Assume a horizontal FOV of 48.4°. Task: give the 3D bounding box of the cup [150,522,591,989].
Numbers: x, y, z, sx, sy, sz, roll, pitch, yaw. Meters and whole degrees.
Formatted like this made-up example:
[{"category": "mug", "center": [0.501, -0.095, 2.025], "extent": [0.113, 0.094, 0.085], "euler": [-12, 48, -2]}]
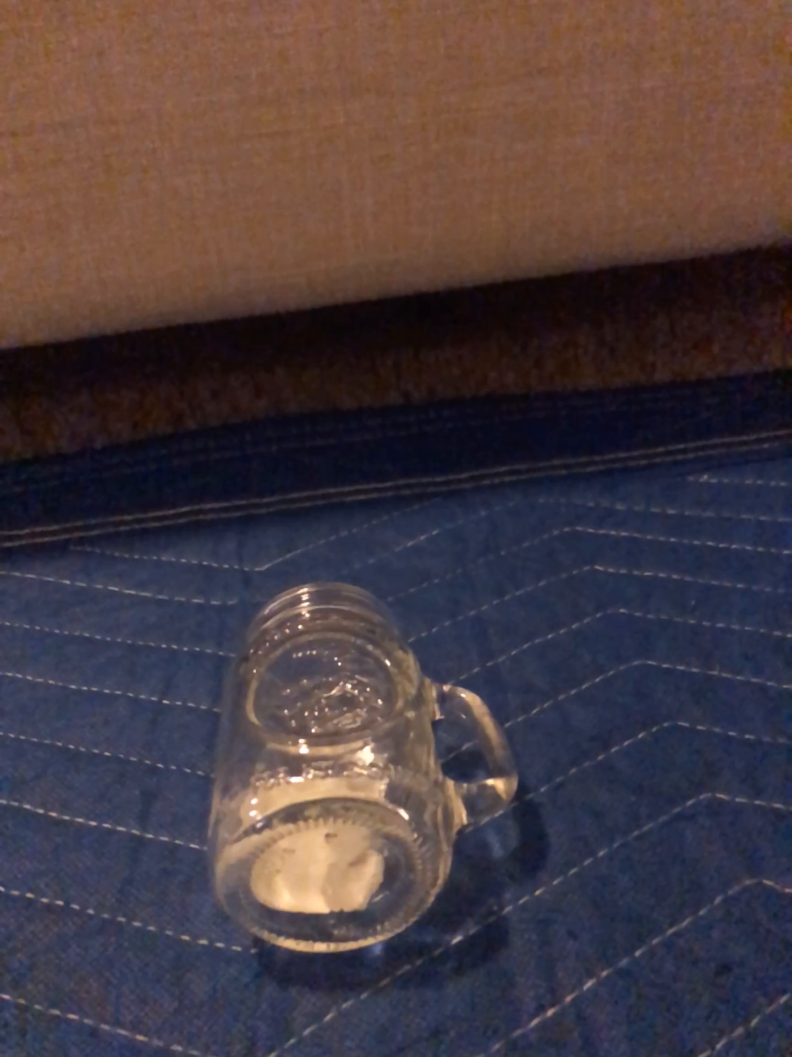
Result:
[{"category": "cup", "center": [-0.009, 0.051, 0.225], "extent": [0.088, 0.043, 0.096], "euler": [-5, 36, 4]}]
